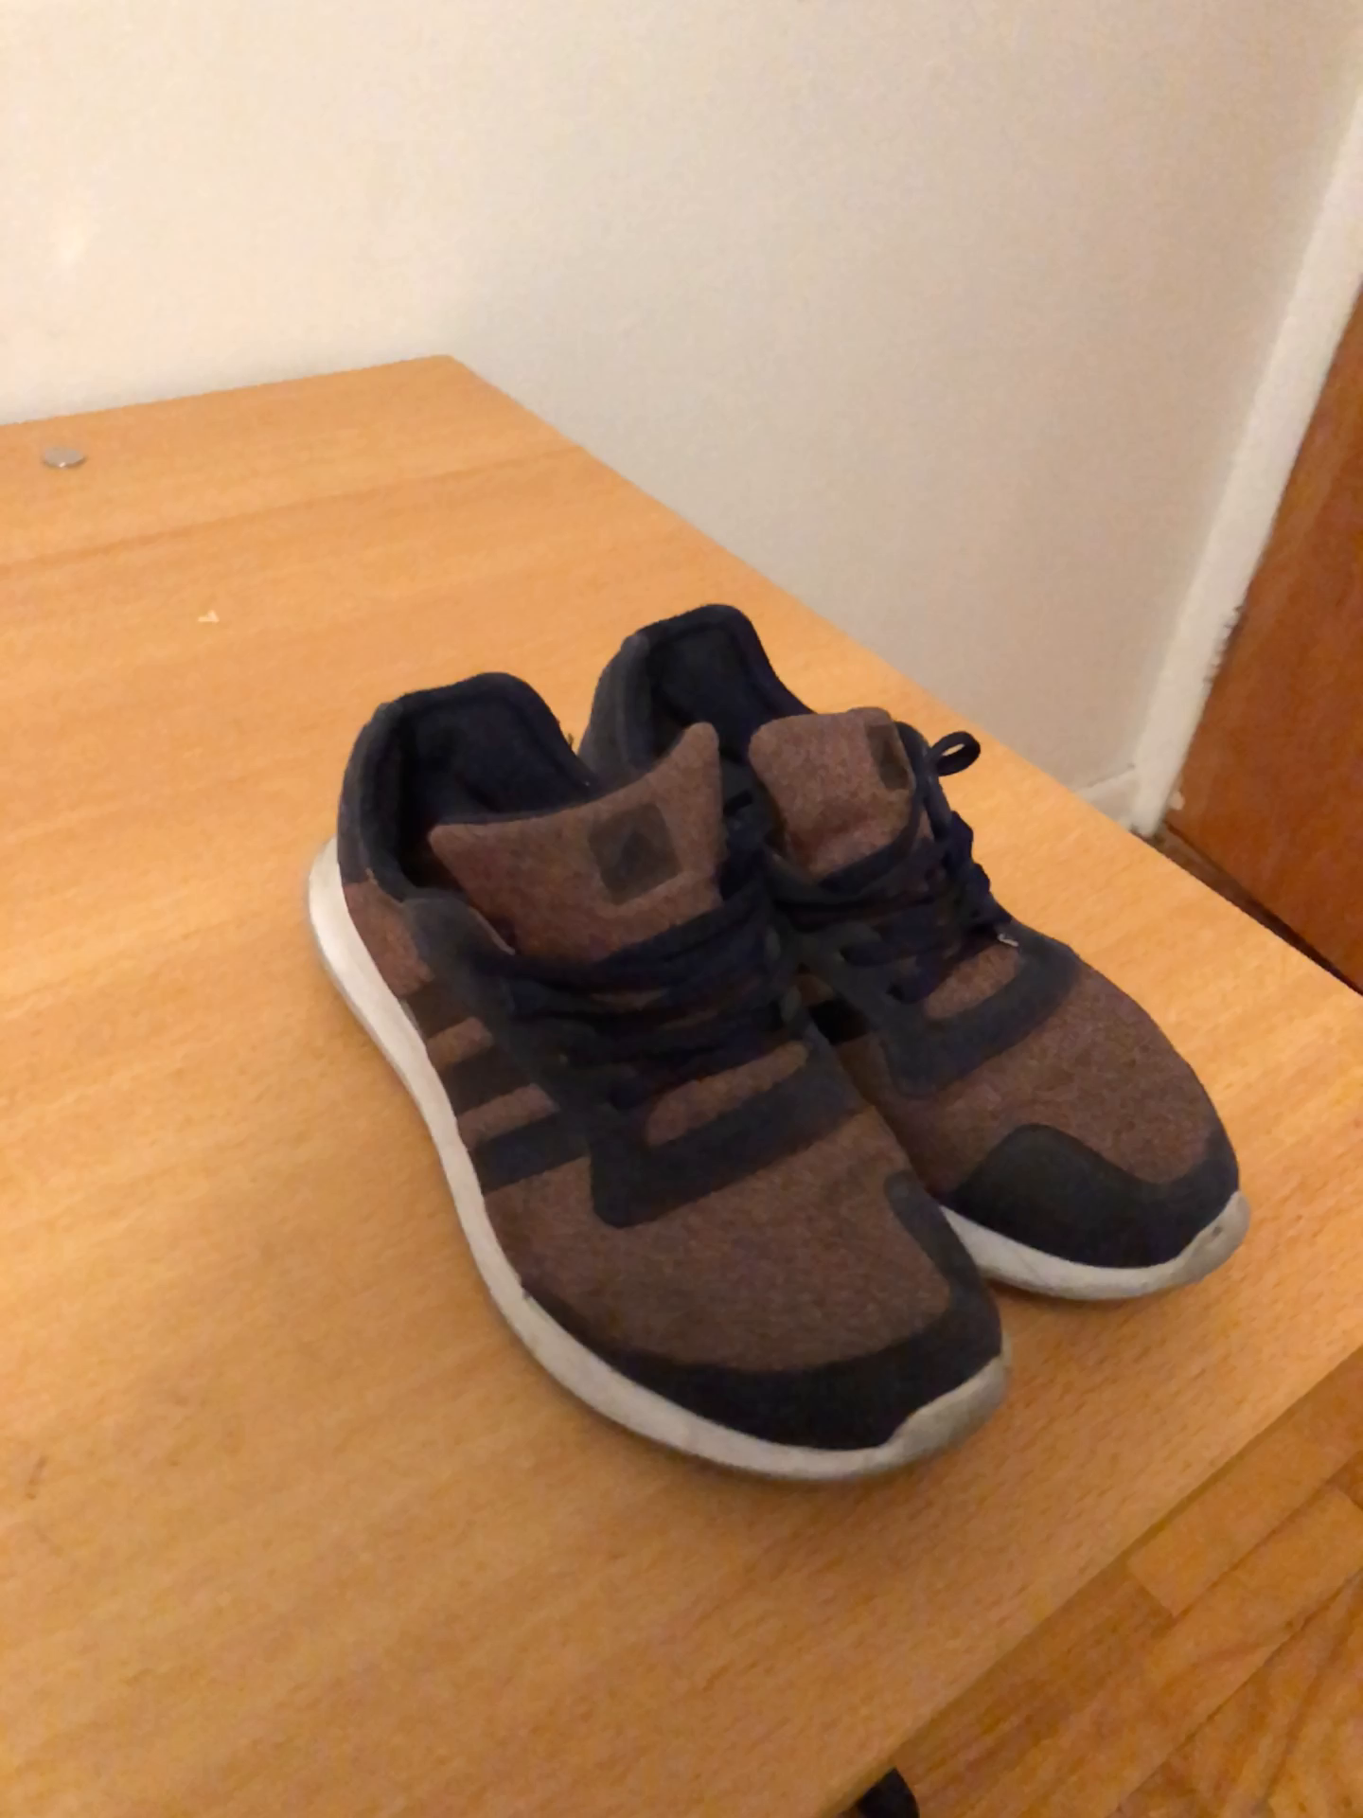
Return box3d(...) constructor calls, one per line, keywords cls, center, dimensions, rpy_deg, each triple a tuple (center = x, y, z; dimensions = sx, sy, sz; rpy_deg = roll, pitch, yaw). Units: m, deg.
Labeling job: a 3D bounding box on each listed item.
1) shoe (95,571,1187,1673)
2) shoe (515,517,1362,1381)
box3d(cls="shoe", center=(-0.033, 0.027, 0.413), dimensions=(0.130, 0.099, 0.291), rpy_deg=(-23, 48, -32))
box3d(cls="shoe", center=(0.077, -0.010, 0.463), dimensions=(0.130, 0.099, 0.261), rpy_deg=(-23, 48, -32))
